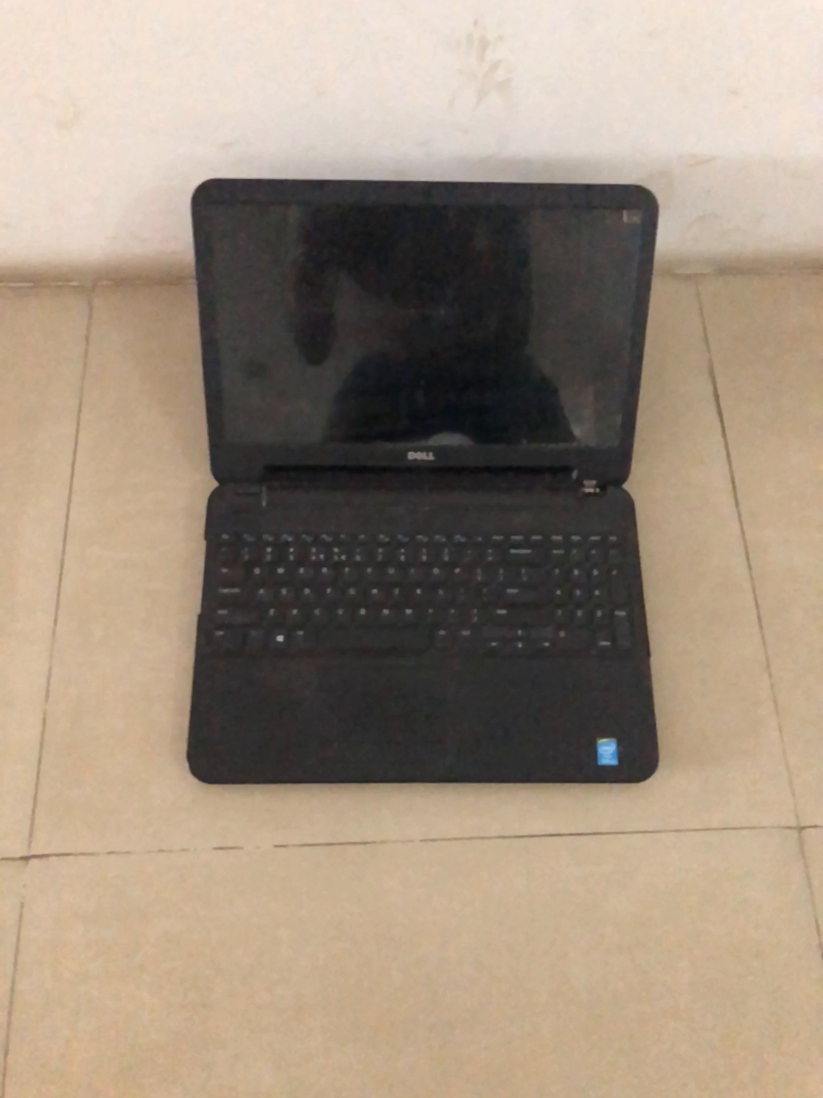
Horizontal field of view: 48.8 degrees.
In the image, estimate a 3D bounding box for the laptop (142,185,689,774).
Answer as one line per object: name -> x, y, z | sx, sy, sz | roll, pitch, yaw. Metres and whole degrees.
laptop -> -0.004, -0.053, 0.687 | 0.322, 0.166, 0.409 | -1, 68, -3
